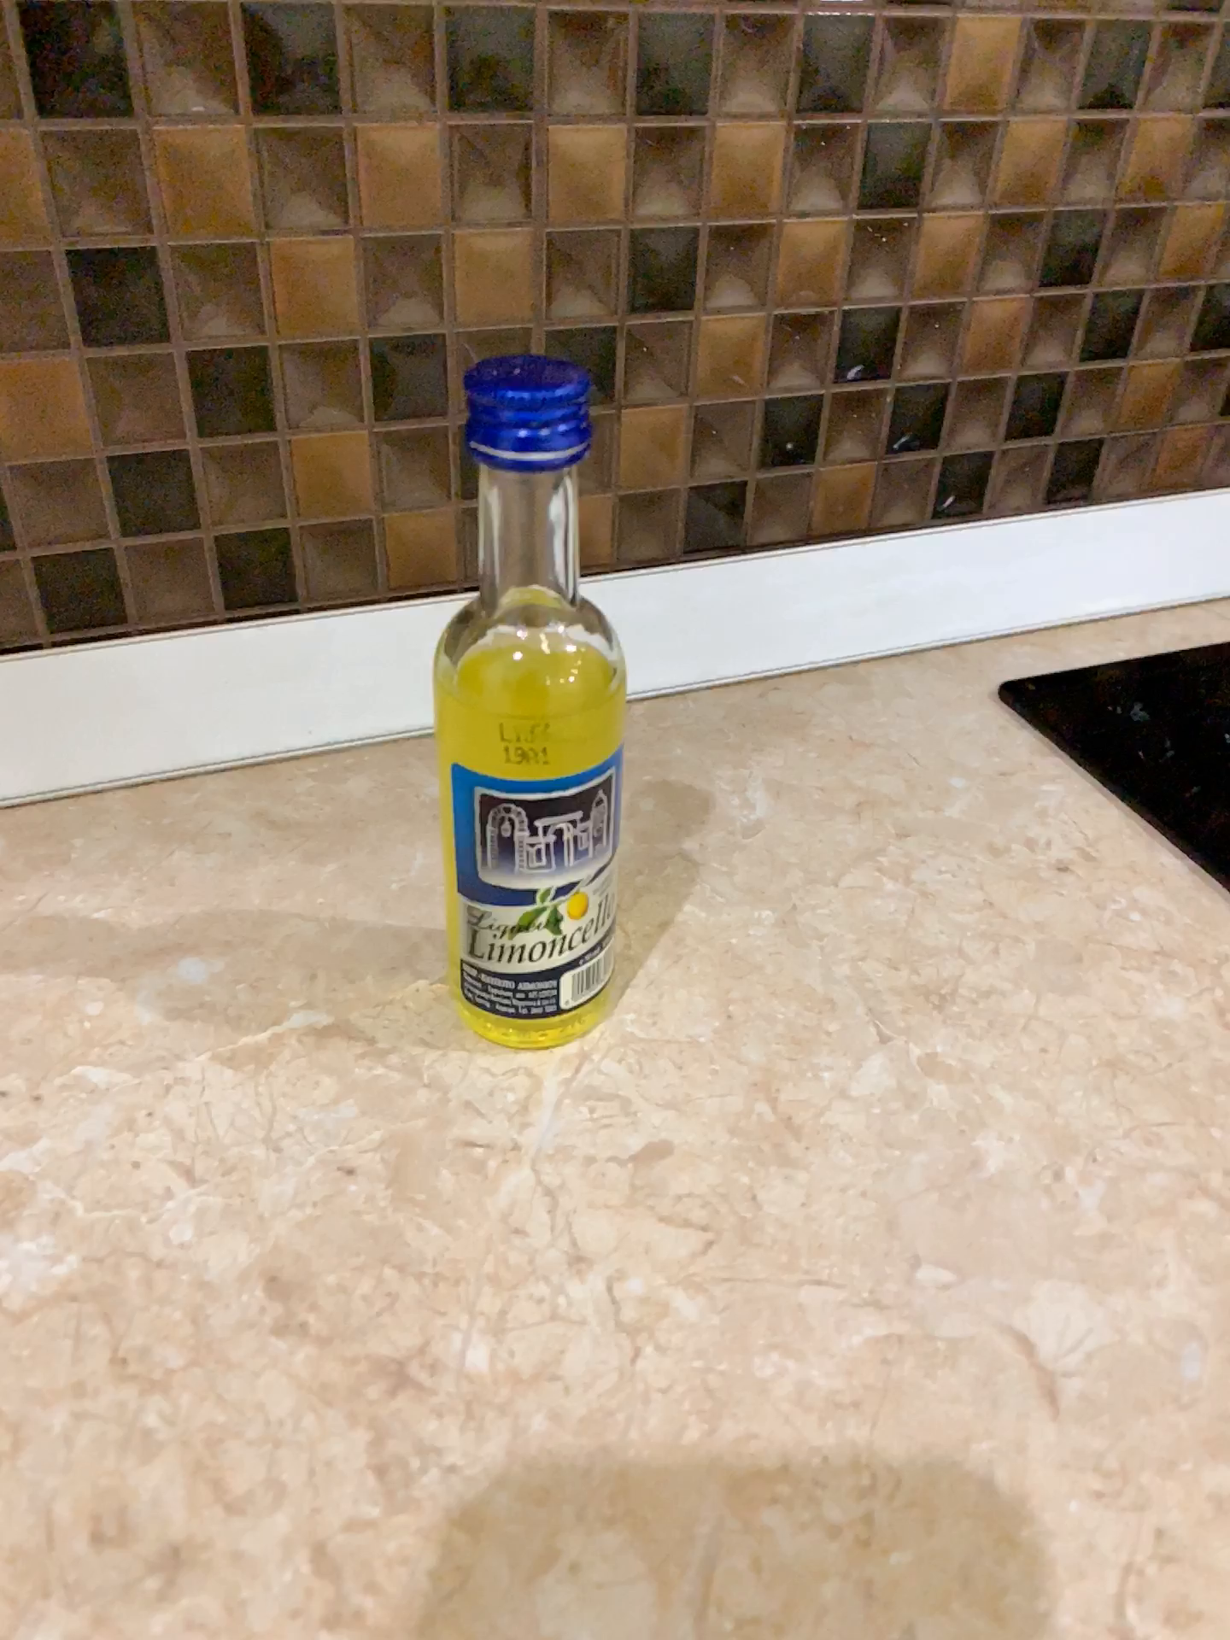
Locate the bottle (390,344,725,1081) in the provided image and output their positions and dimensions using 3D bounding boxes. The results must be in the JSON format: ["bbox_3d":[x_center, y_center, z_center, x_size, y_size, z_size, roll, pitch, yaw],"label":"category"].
[{"bbox_3d":[-0.011,-0.013,0.216,0.039,0.119,0.033,-12,39,-19],"label":"bottle"}]
